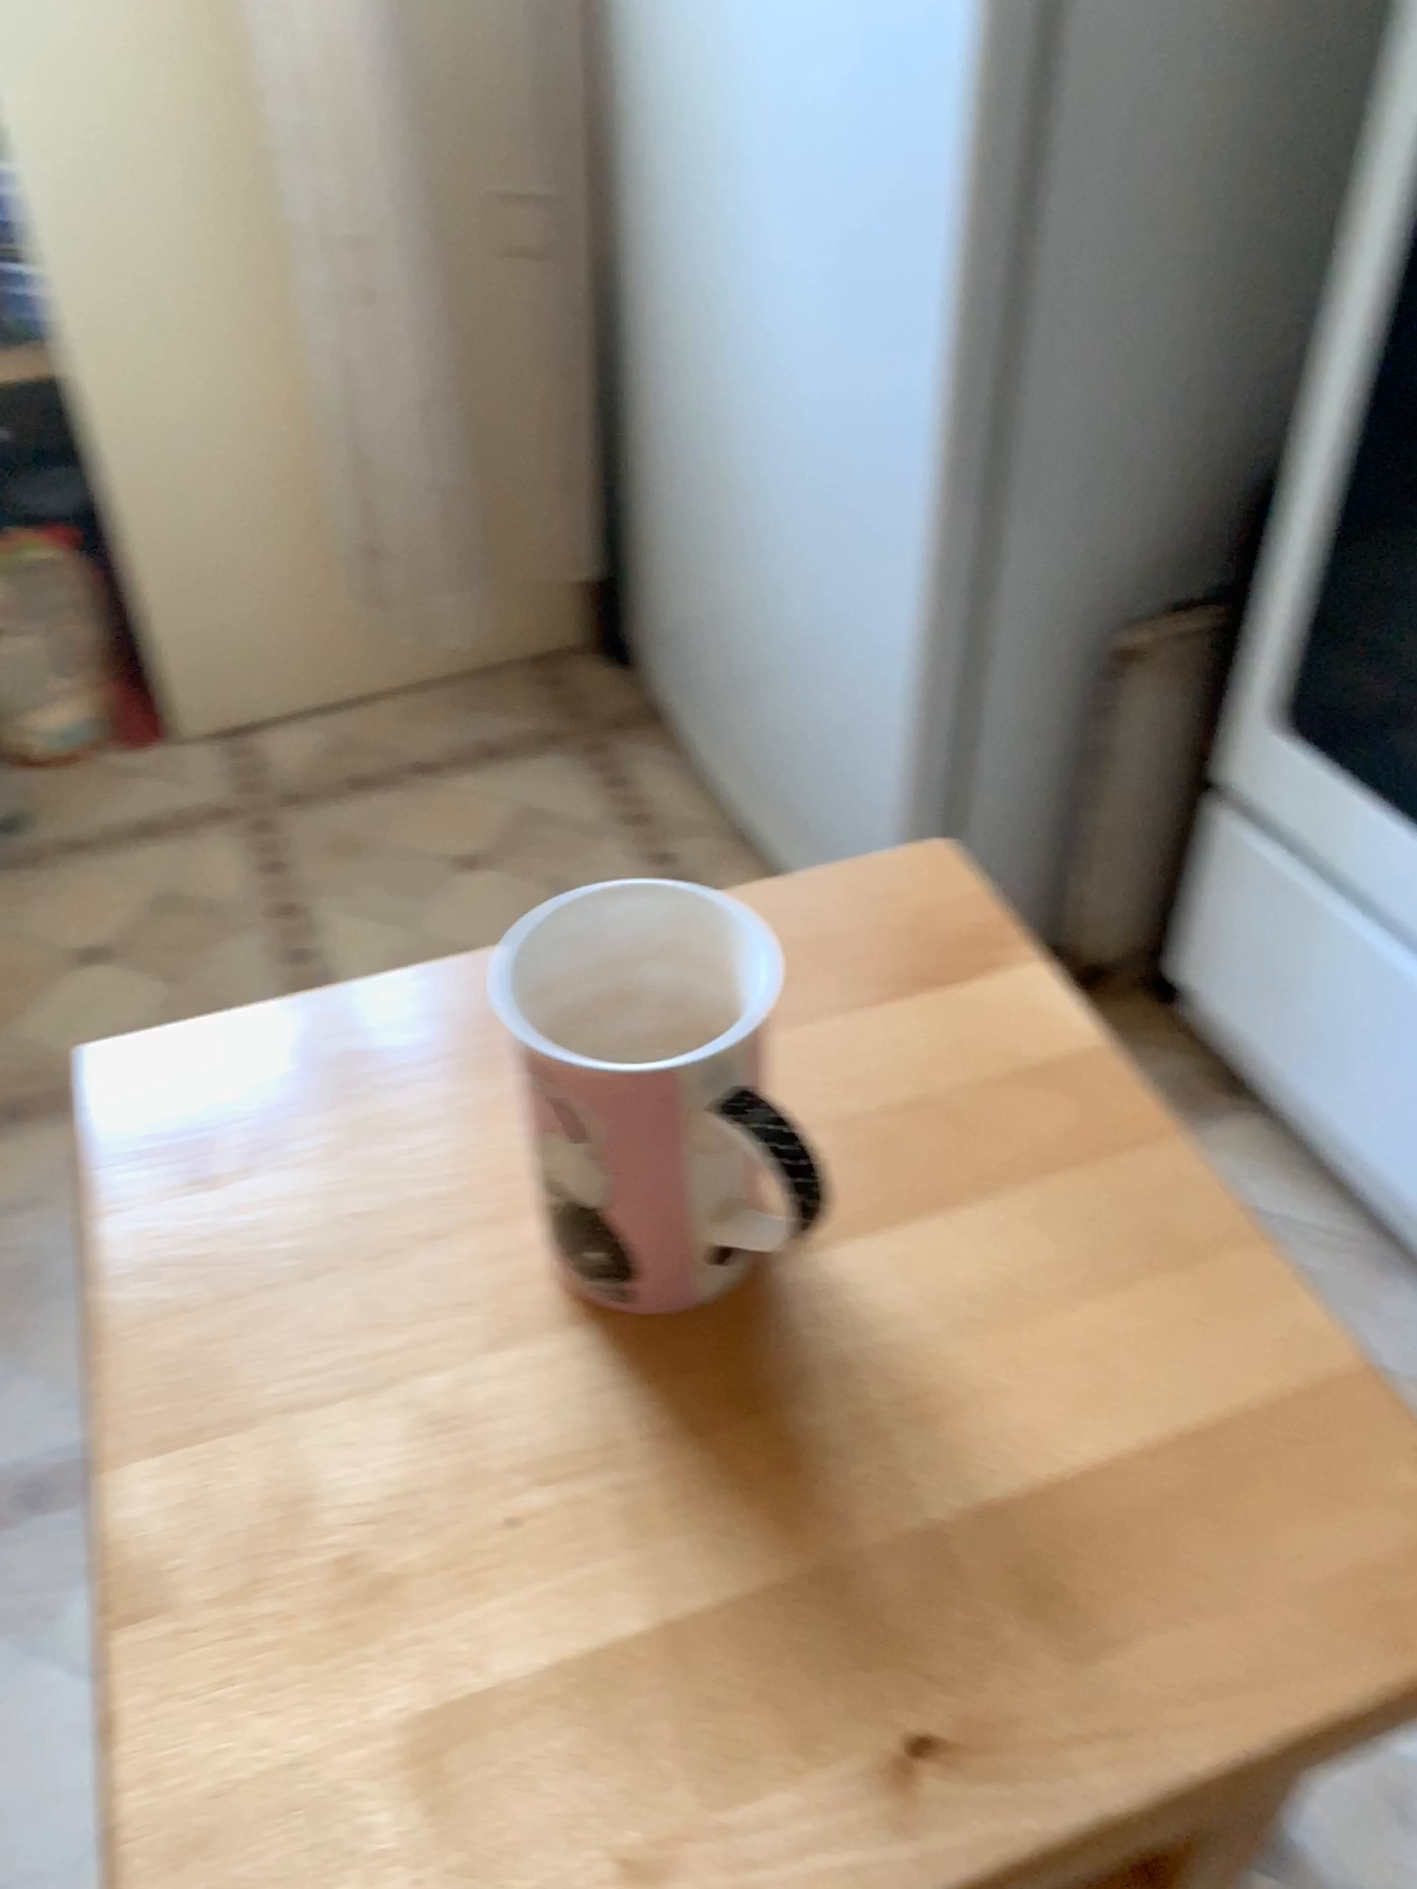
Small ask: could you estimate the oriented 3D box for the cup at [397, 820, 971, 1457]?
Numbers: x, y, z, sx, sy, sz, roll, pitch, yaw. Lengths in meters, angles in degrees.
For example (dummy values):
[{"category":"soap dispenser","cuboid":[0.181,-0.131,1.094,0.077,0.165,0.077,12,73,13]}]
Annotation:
[{"category":"cup","cuboid":[-0.007,0.048,0.397,0.121,0.099,0.080,29,49,31]}]
